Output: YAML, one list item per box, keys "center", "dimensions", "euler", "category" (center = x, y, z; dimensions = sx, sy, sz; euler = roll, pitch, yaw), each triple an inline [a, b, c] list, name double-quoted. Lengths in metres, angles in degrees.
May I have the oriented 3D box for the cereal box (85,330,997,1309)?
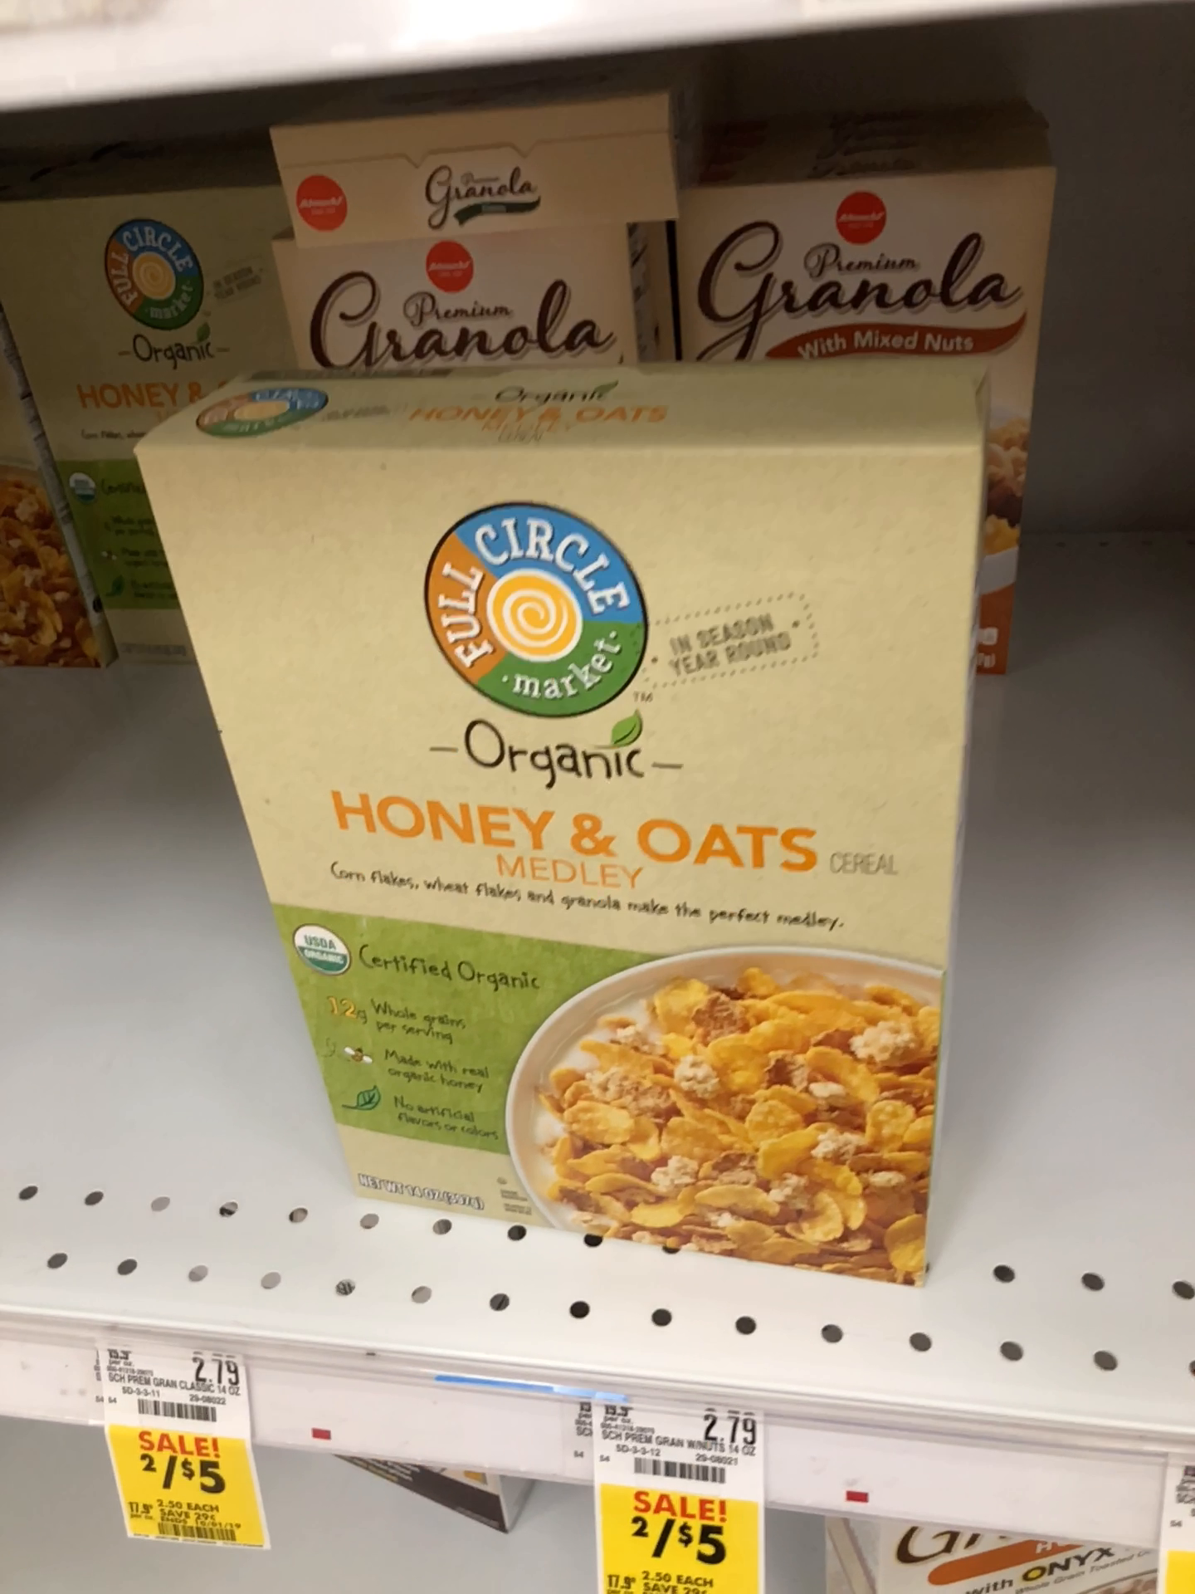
- center: [-0.001, 0.017, 0.359]
  dimensions: [0.190, 0.259, 0.060]
  euler: [4, 35, 15]
  category: "cereal box"
